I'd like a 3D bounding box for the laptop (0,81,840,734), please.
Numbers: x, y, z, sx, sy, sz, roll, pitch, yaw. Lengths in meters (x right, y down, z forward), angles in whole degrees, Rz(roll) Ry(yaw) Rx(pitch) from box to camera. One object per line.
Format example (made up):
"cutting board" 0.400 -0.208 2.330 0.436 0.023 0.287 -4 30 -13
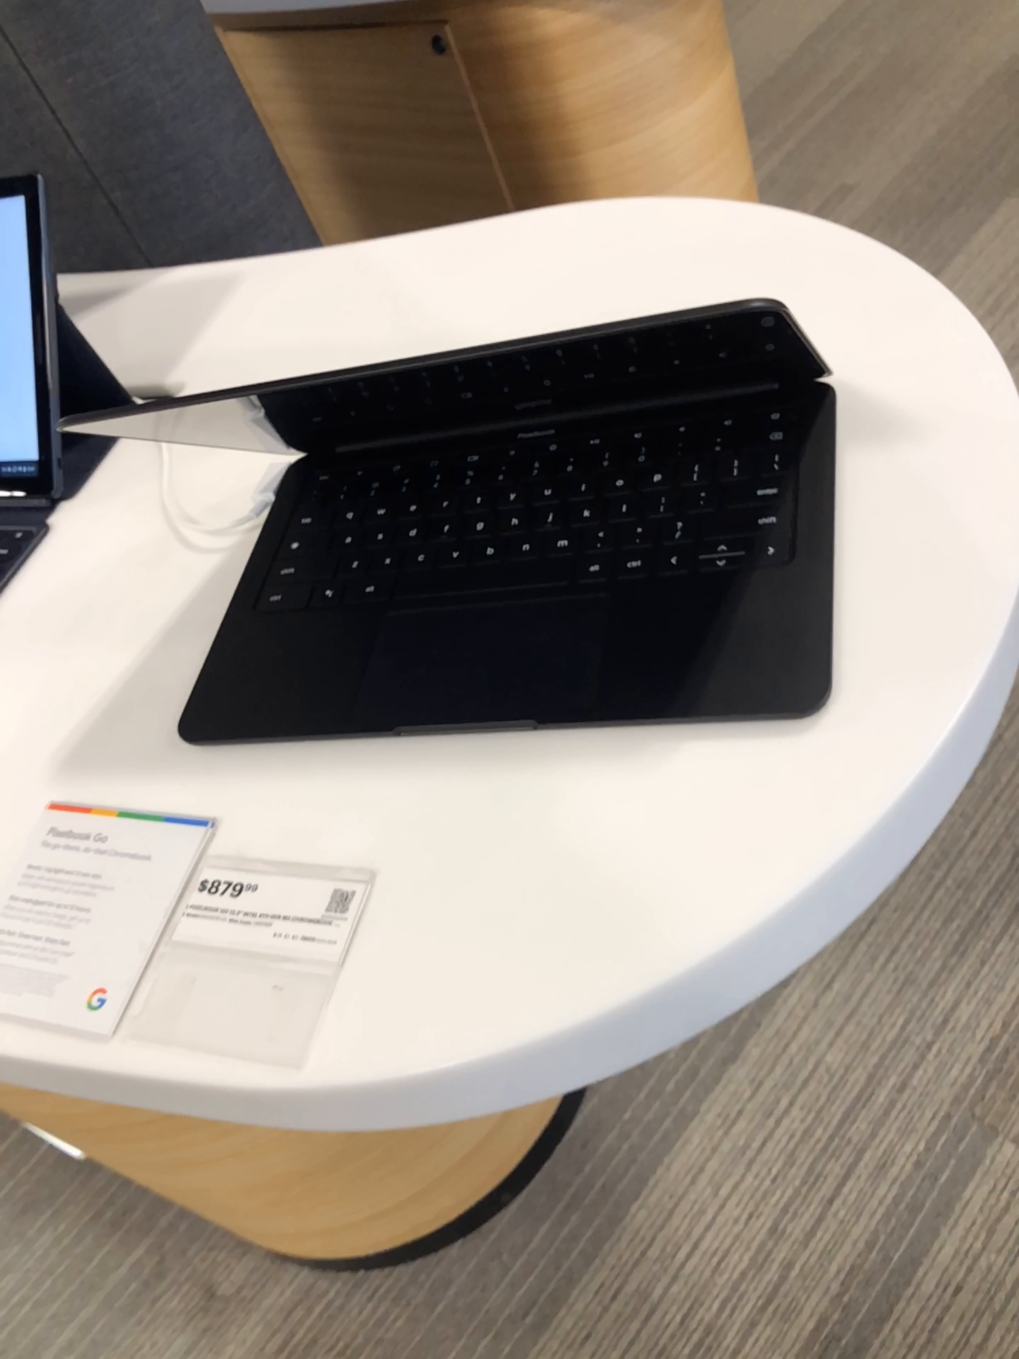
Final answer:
"laptop" -0.015 -0.104 0.479 0.278 0.146 0.192 -4 50 19
